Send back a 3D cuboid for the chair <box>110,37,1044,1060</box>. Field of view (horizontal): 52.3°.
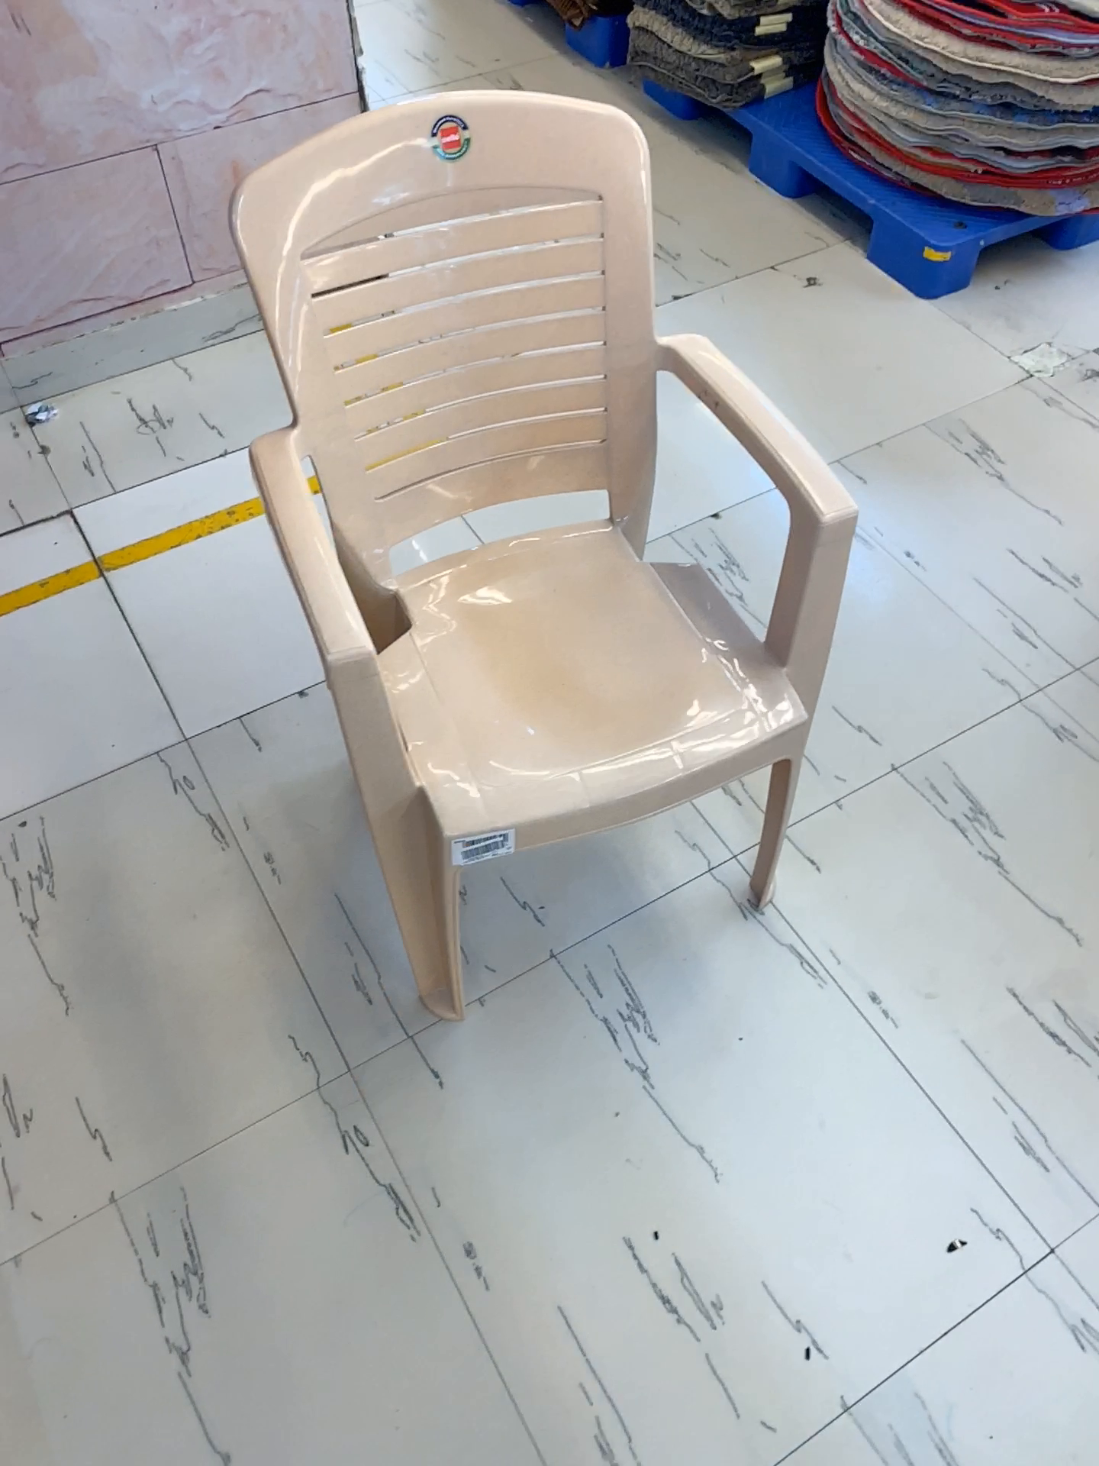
[{"bbox_3d":[-0.021,-0.172,1.233,0.570,0.775,0.624,-19,55,-13],"label":"chair"}]
